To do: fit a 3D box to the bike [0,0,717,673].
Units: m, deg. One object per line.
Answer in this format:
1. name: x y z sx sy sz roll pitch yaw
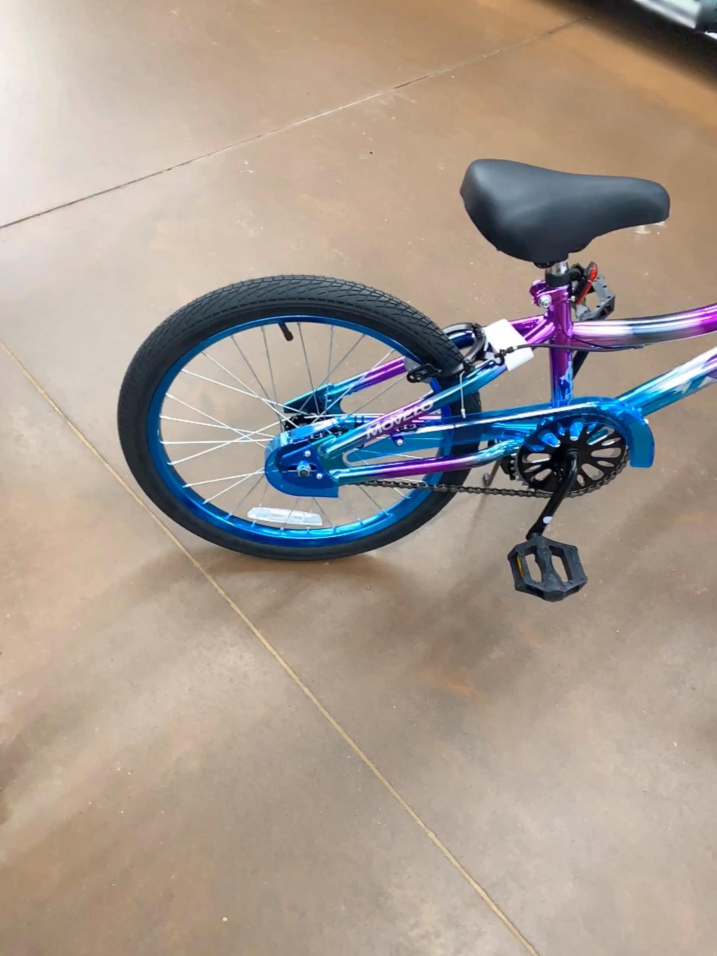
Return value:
1. bike: 0.173 -0.242 0.854 0.933 0.932 0.579 5 53 -6
